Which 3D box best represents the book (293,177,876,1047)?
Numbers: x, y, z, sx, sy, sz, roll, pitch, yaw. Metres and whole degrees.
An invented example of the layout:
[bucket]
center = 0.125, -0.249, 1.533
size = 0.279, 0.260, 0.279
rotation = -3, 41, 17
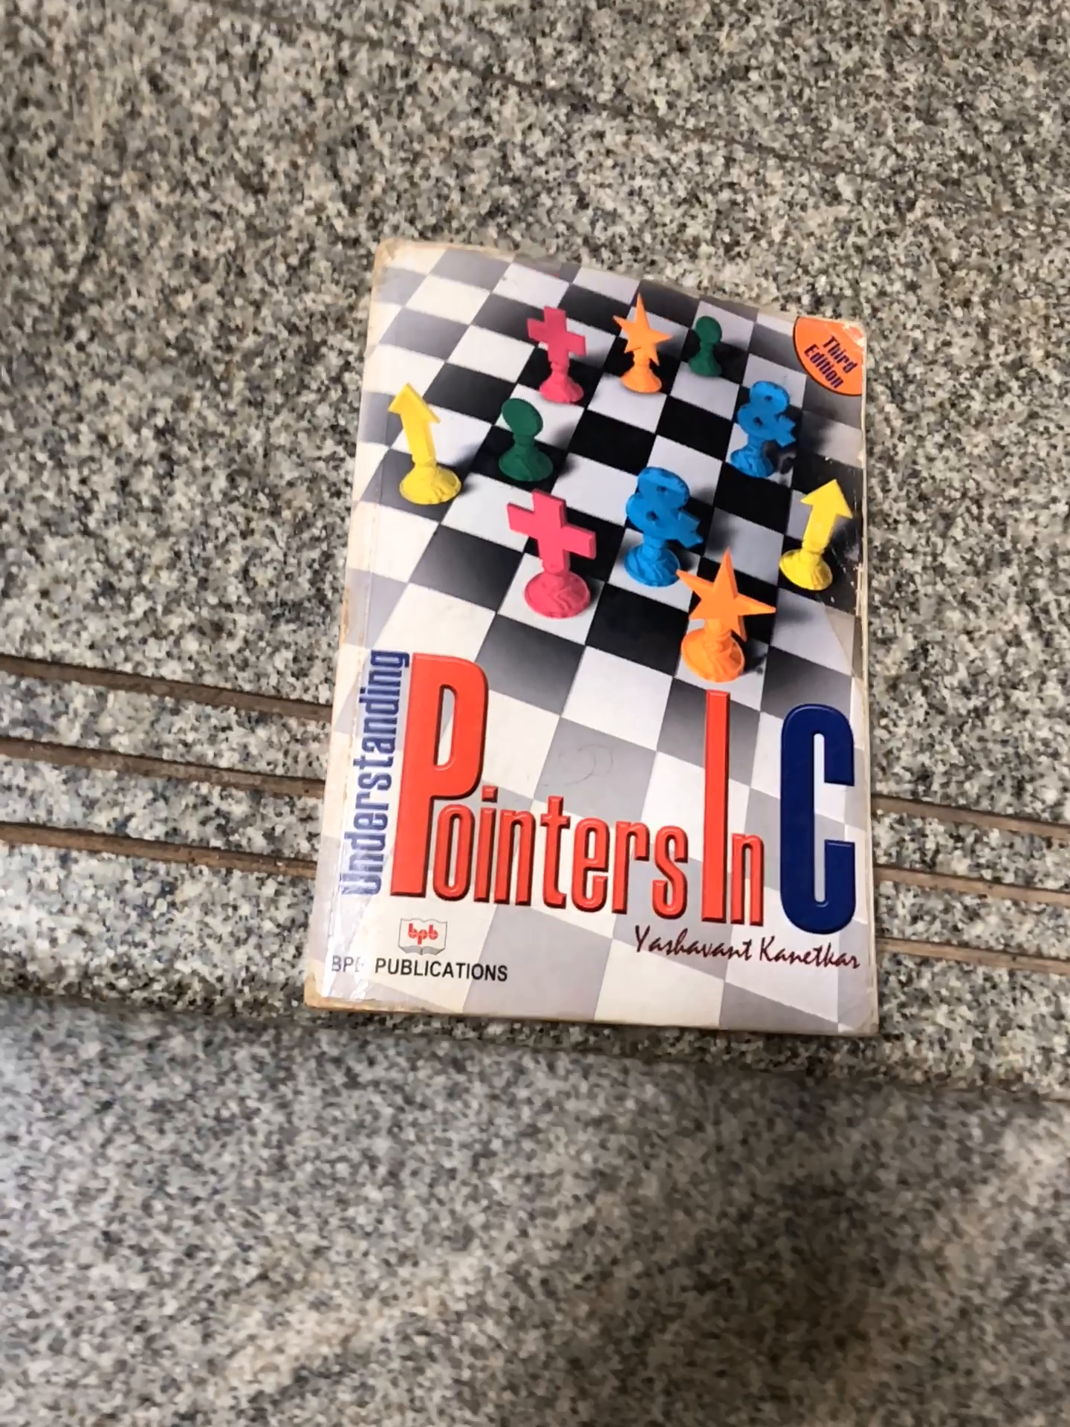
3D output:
[book]
center = 0.018, -0.028, 0.320
size = 0.140, 0.030, 0.220
rotation = 6, 74, -11
